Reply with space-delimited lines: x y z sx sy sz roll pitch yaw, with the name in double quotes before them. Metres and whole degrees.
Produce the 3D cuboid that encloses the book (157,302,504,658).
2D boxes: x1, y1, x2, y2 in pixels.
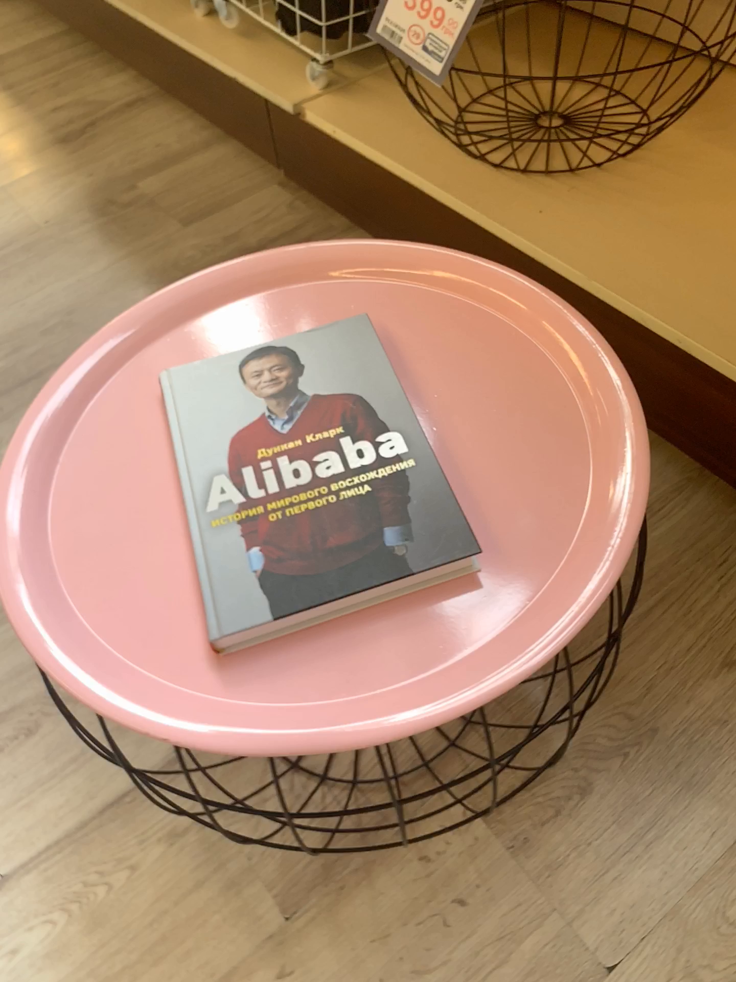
"book" -0.038 -0.024 0.521 0.180 0.026 0.241 -17 53 -5
